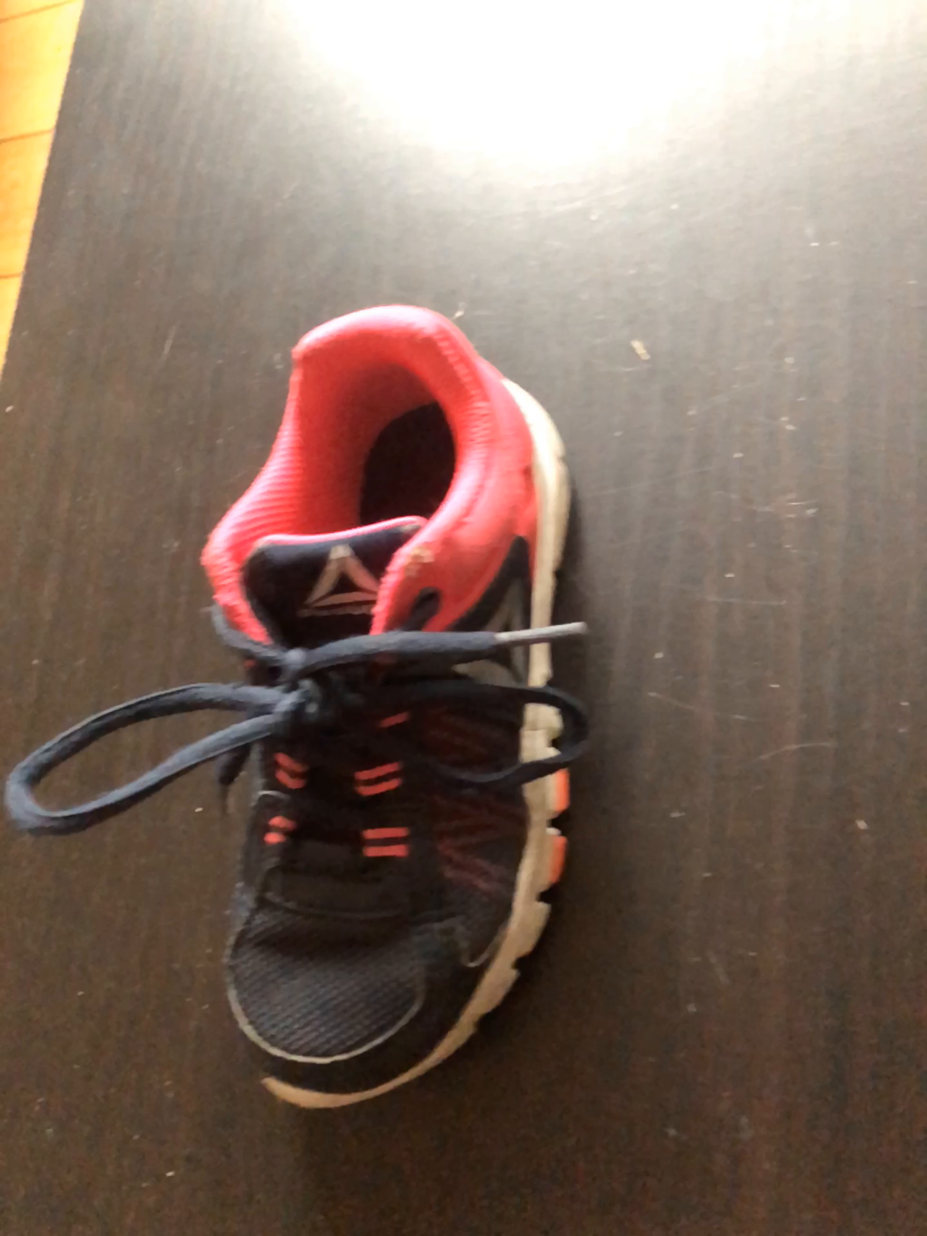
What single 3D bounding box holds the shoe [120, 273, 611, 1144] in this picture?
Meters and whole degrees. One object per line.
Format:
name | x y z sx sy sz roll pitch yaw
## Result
shoe | -0.016 0.018 0.270 0.080 0.070 0.193 1 74 21
